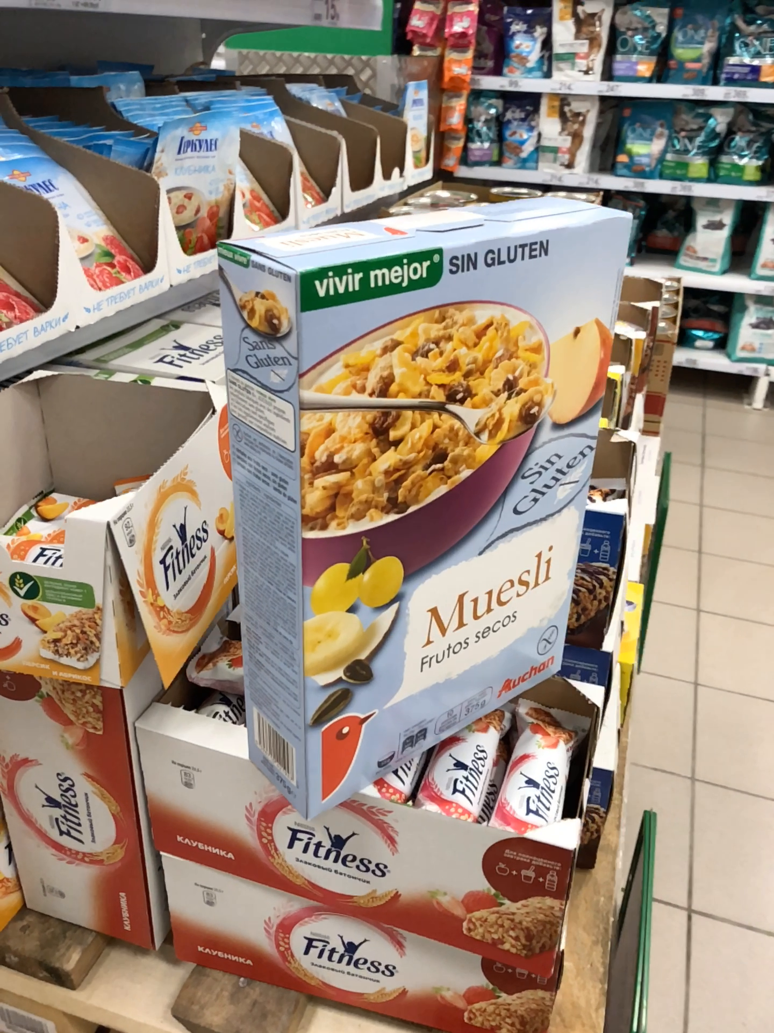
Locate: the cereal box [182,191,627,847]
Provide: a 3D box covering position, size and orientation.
[{"bbox_3d":[0.013,-0.002,0.434,0.201,0.288,0.060,-20,36,-35],"label":"cereal box"}]
